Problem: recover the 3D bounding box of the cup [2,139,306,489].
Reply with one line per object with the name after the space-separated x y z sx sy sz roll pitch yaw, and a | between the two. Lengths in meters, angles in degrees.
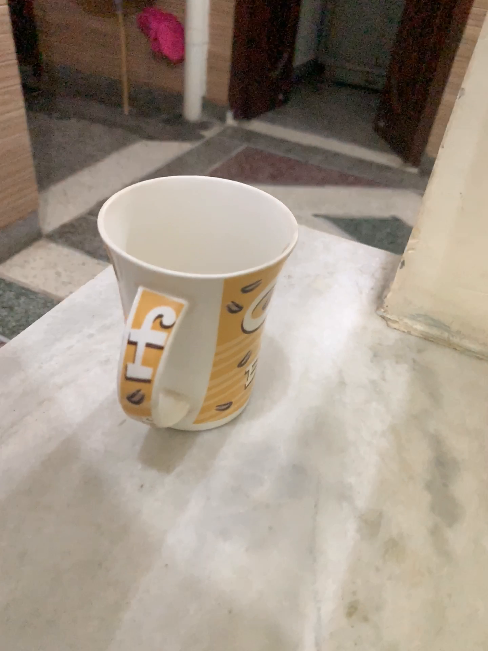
-0.031 -0.009 0.226 0.080 0.100 0.100 16 41 10 | cup
